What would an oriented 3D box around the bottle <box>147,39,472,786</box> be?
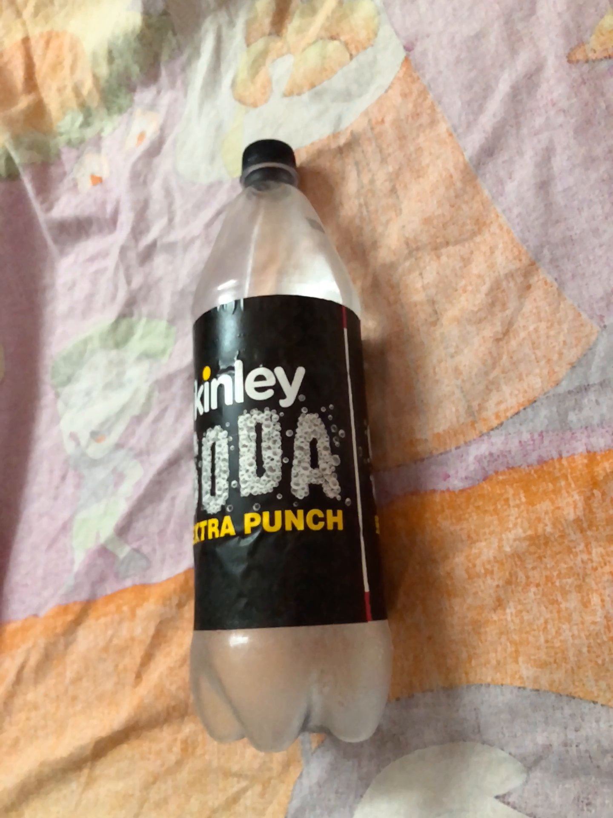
[{"bbox_3d":[-0.002,-0.001,0.303,0.090,0.080,0.280,-12,76,25],"label":"bottle"}]
